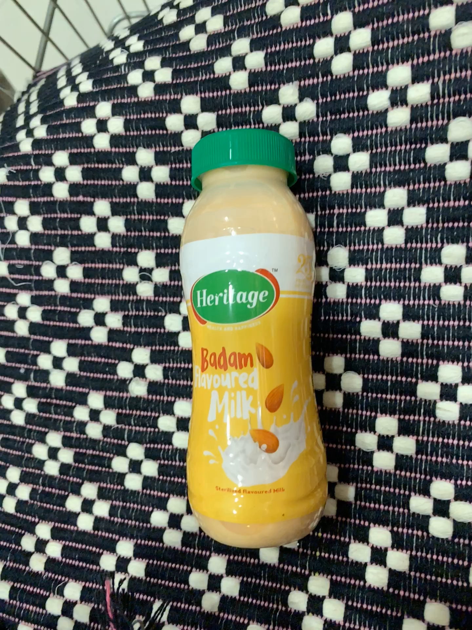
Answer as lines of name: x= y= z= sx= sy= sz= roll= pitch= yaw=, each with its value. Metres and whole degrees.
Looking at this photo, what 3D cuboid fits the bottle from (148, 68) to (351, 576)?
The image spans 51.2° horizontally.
bottle: x=0.007 y=0.001 z=0.171 sx=0.060 sy=0.040 sz=0.150 roll=-2 pitch=84 yaw=14
